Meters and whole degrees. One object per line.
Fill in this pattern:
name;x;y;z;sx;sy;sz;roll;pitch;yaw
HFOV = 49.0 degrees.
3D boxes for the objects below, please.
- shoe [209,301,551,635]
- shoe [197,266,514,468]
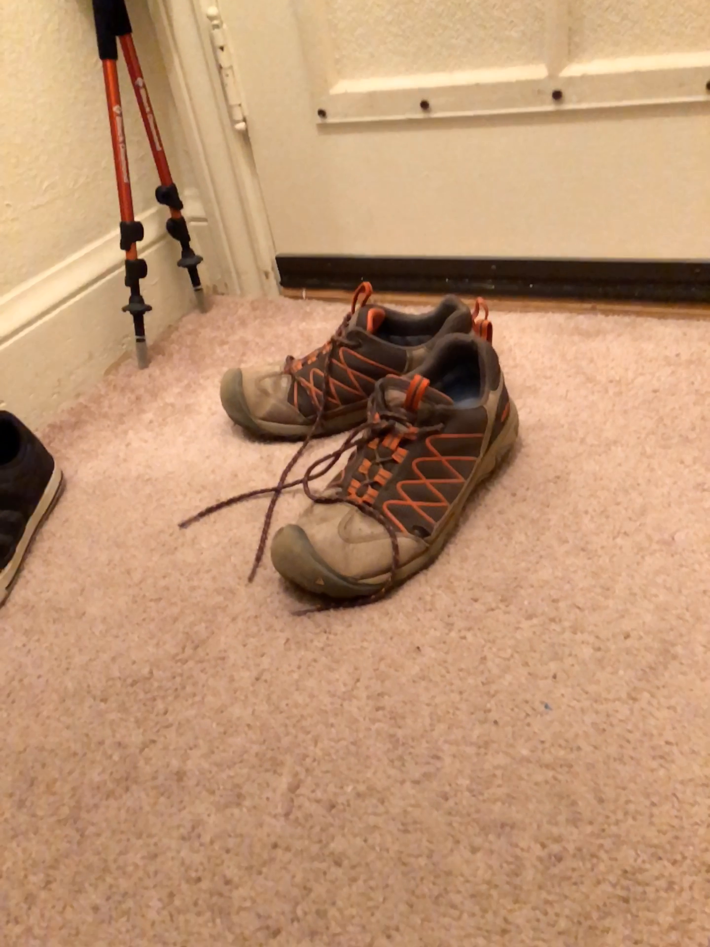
shoe;0.036;-0.019;0.656;0.120;0.129;0.271;25;50;39
shoe;0.006;-0.113;0.829;0.300;0.129;0.121;-7;36;6
